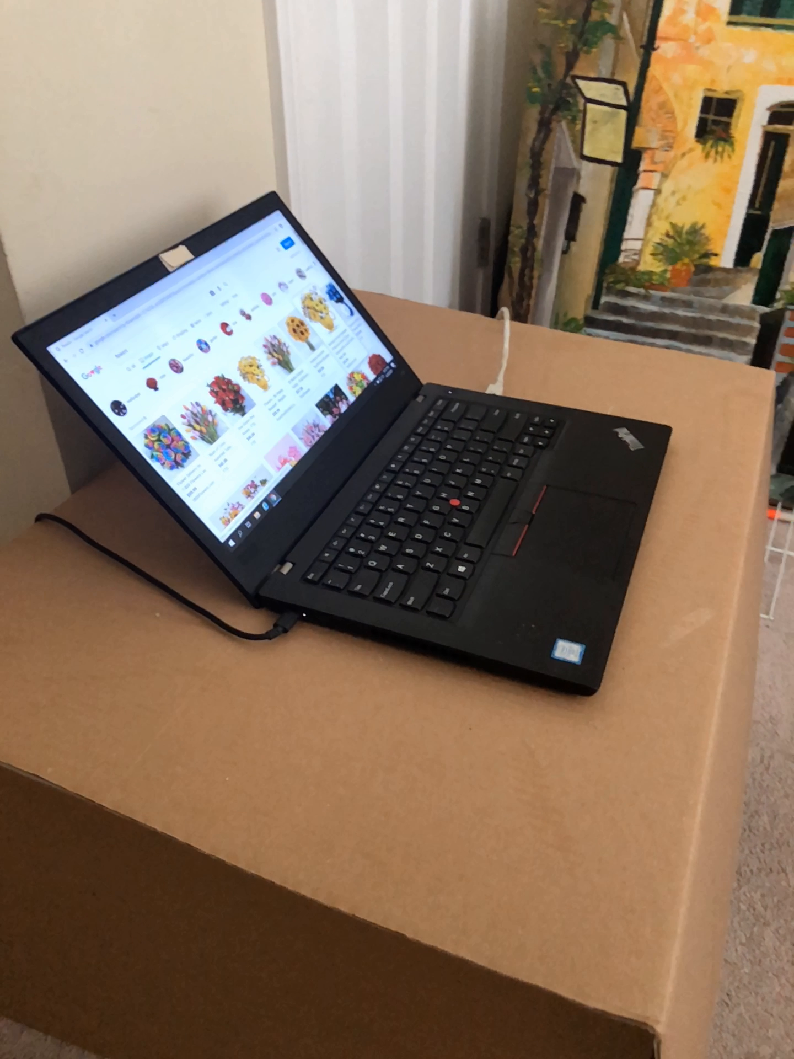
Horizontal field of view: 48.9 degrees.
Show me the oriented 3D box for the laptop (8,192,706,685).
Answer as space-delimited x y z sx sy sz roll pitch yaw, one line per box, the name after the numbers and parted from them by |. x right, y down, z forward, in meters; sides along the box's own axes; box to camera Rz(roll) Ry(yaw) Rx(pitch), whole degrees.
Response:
0.002 -0.102 0.628 0.364 0.158 0.324 13 38 17 | laptop
